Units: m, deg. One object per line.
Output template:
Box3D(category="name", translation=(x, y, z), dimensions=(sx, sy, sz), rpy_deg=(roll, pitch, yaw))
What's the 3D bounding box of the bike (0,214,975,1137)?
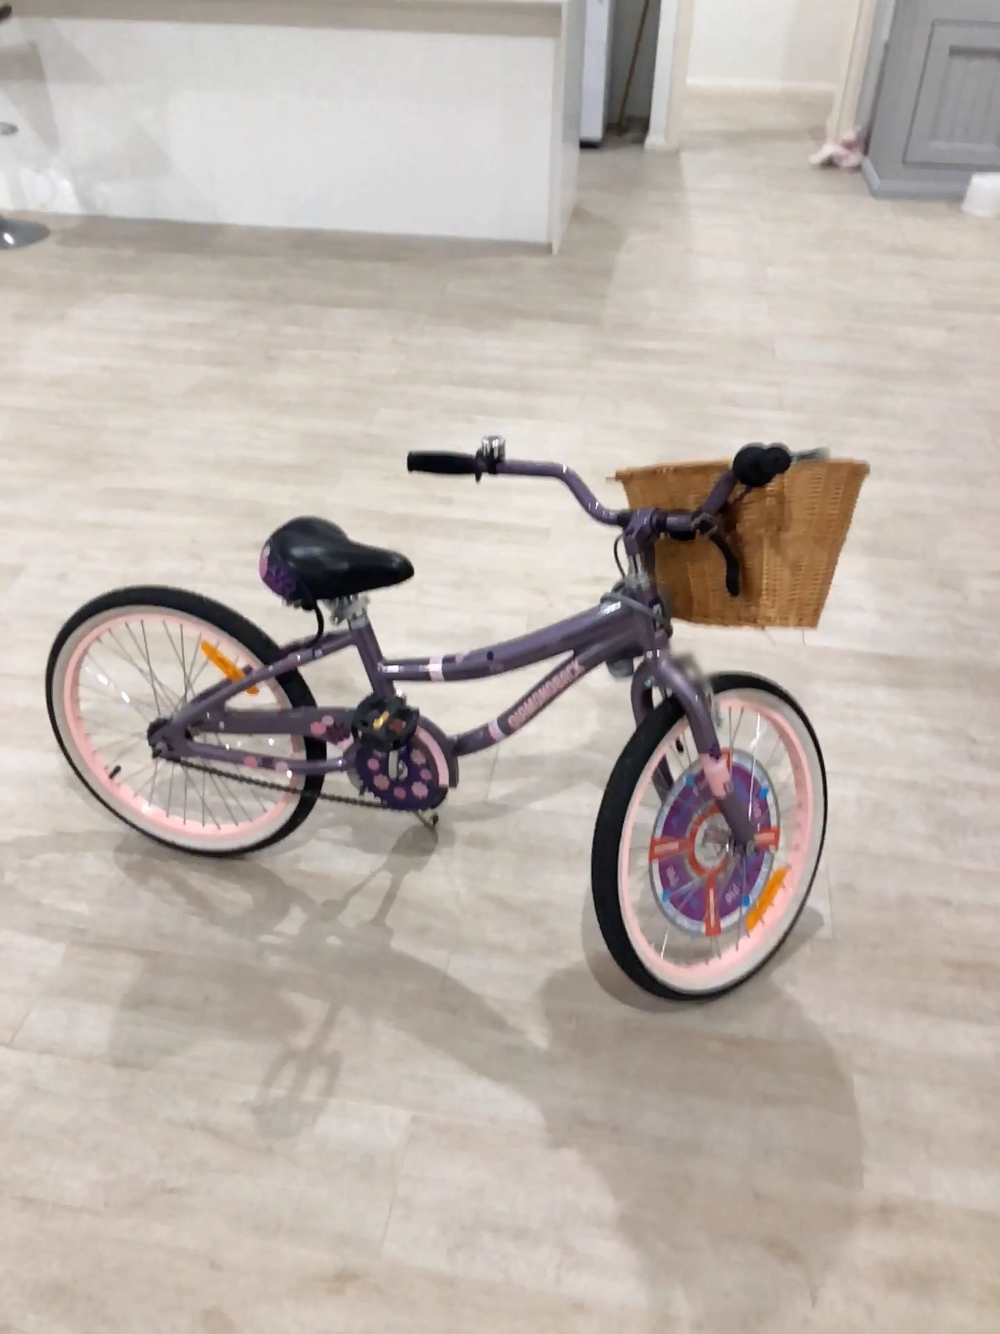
Box3D(category="bike", translation=(-0.099, -0.003, 1.606), dimensions=(1.214, 0.878, 0.751), rpy_deg=(8, 38, 3))
